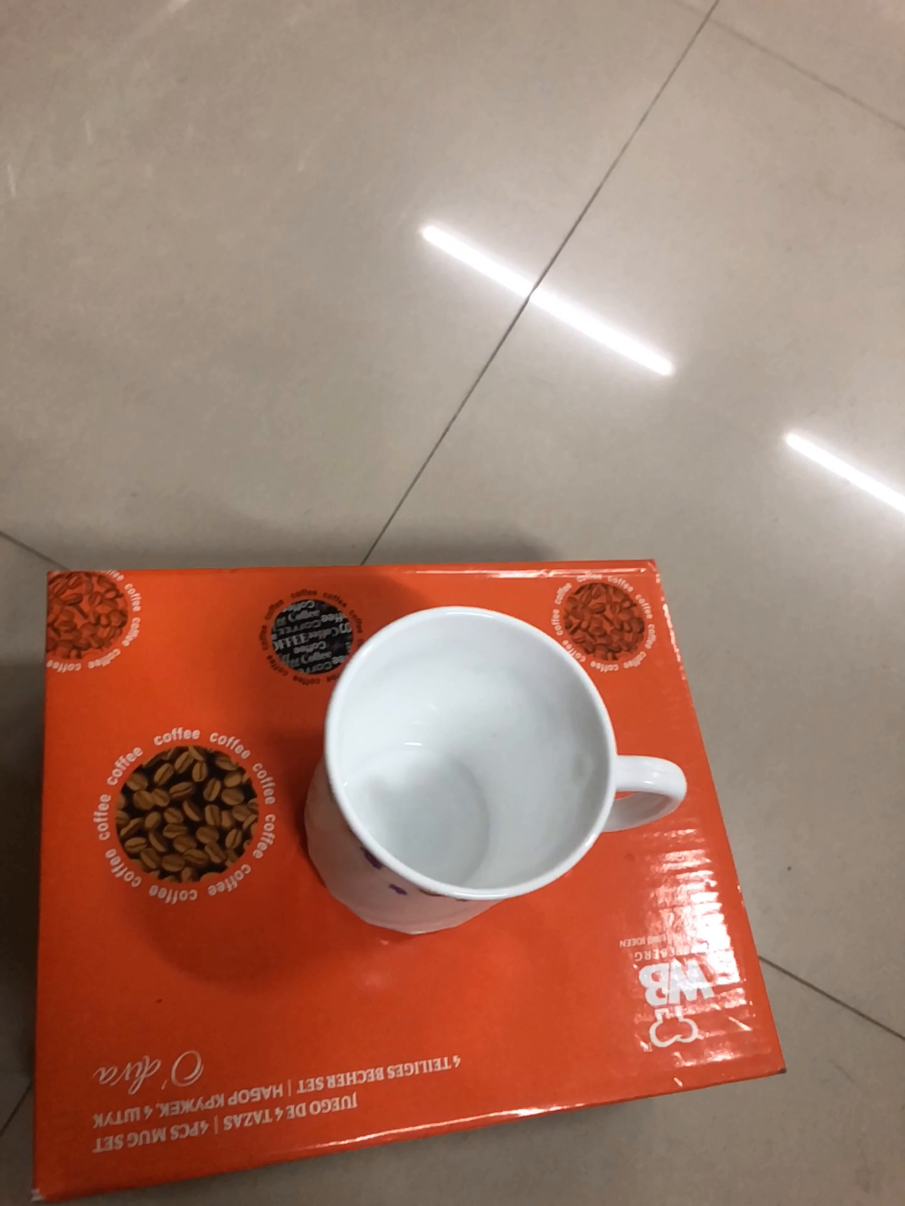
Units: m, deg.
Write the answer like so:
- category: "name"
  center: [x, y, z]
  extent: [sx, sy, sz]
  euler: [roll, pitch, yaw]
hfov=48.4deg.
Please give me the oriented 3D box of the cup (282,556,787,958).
- category: "cup"
  center: [0.016, 0.053, 0.302]
  extent: [0.120, 0.090, 0.090]
  euler: [6, 64, -12]
